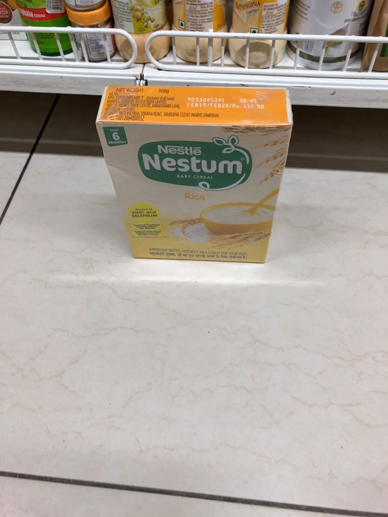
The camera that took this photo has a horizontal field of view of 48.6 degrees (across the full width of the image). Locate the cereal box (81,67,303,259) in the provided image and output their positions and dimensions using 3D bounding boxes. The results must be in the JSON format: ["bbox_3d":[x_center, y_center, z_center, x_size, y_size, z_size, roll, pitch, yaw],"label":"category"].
[{"bbox_3d":[0.002,-0.076,0.401,0.160,0.189,0.050,2,56,3],"label":"cereal box"}]
